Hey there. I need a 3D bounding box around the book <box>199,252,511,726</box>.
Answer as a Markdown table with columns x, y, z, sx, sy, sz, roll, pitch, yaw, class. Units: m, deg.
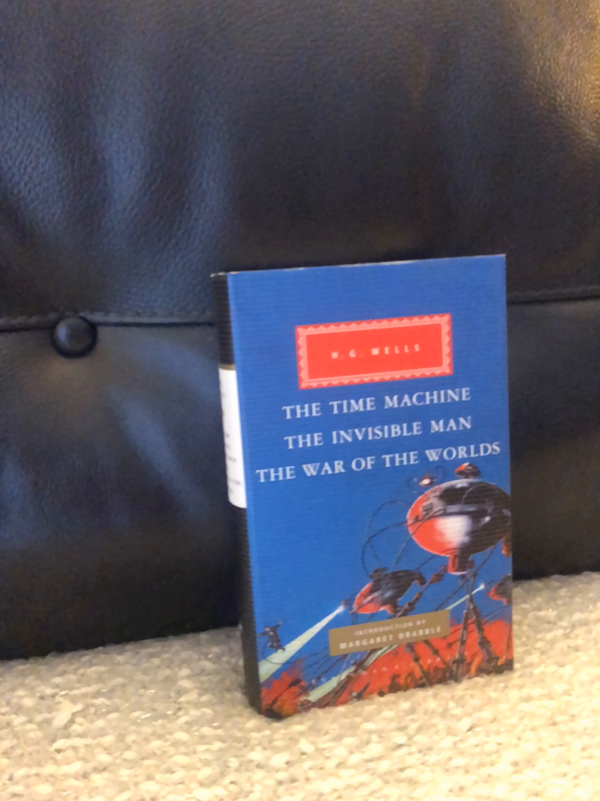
| x | y | z | sx | sy | sz | roll | pitch | yaw | class |
| --- | --- | --- | --- | --- | --- | --- | --- | --- | --- |
| 0.033 | 0.042 | 0.352 | 0.148 | 0.225 | 0.034 | -6 | 9 | -12 | book |
